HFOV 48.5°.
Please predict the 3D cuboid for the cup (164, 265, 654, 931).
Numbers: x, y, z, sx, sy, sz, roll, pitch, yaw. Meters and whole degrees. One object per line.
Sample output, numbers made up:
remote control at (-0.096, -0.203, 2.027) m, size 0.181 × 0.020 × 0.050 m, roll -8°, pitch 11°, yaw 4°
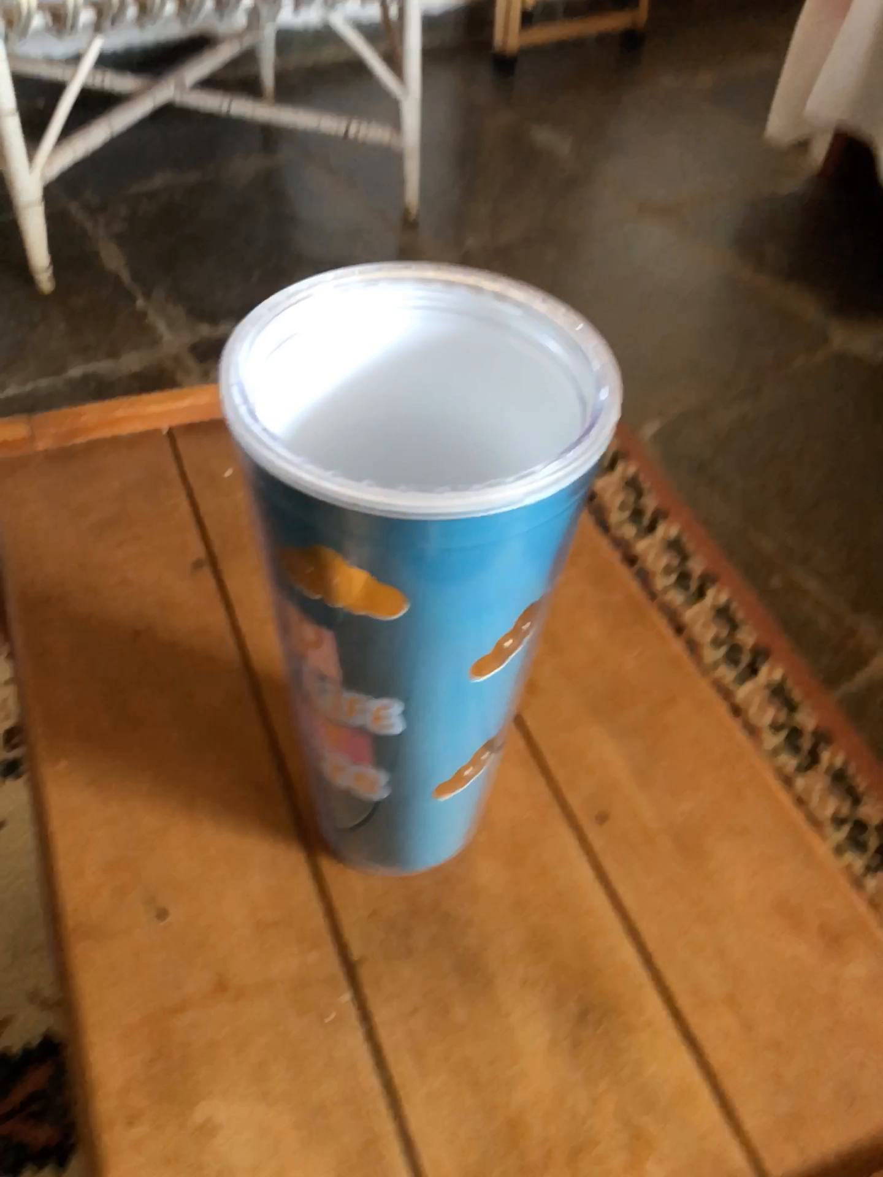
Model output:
cup at (-0.020, 0.011, 0.303) m, size 0.100 × 0.179 × 0.101 m, roll 3°, pitch 47°, yaw -3°
